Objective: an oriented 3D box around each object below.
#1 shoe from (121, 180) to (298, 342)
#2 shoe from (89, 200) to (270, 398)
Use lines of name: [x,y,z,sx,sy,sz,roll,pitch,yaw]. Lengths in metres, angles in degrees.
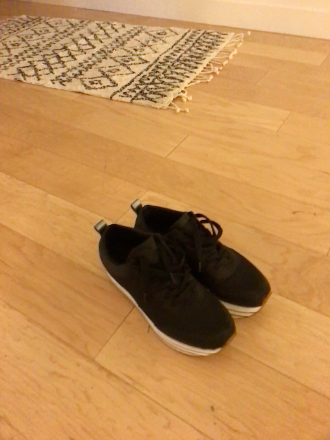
shoe: [0.065,0.061,0.627,0.281,0.139,0.101,29,52,30]
shoe: [0.009,0.112,0.578,0.100,0.139,0.291,-32,50,-26]
